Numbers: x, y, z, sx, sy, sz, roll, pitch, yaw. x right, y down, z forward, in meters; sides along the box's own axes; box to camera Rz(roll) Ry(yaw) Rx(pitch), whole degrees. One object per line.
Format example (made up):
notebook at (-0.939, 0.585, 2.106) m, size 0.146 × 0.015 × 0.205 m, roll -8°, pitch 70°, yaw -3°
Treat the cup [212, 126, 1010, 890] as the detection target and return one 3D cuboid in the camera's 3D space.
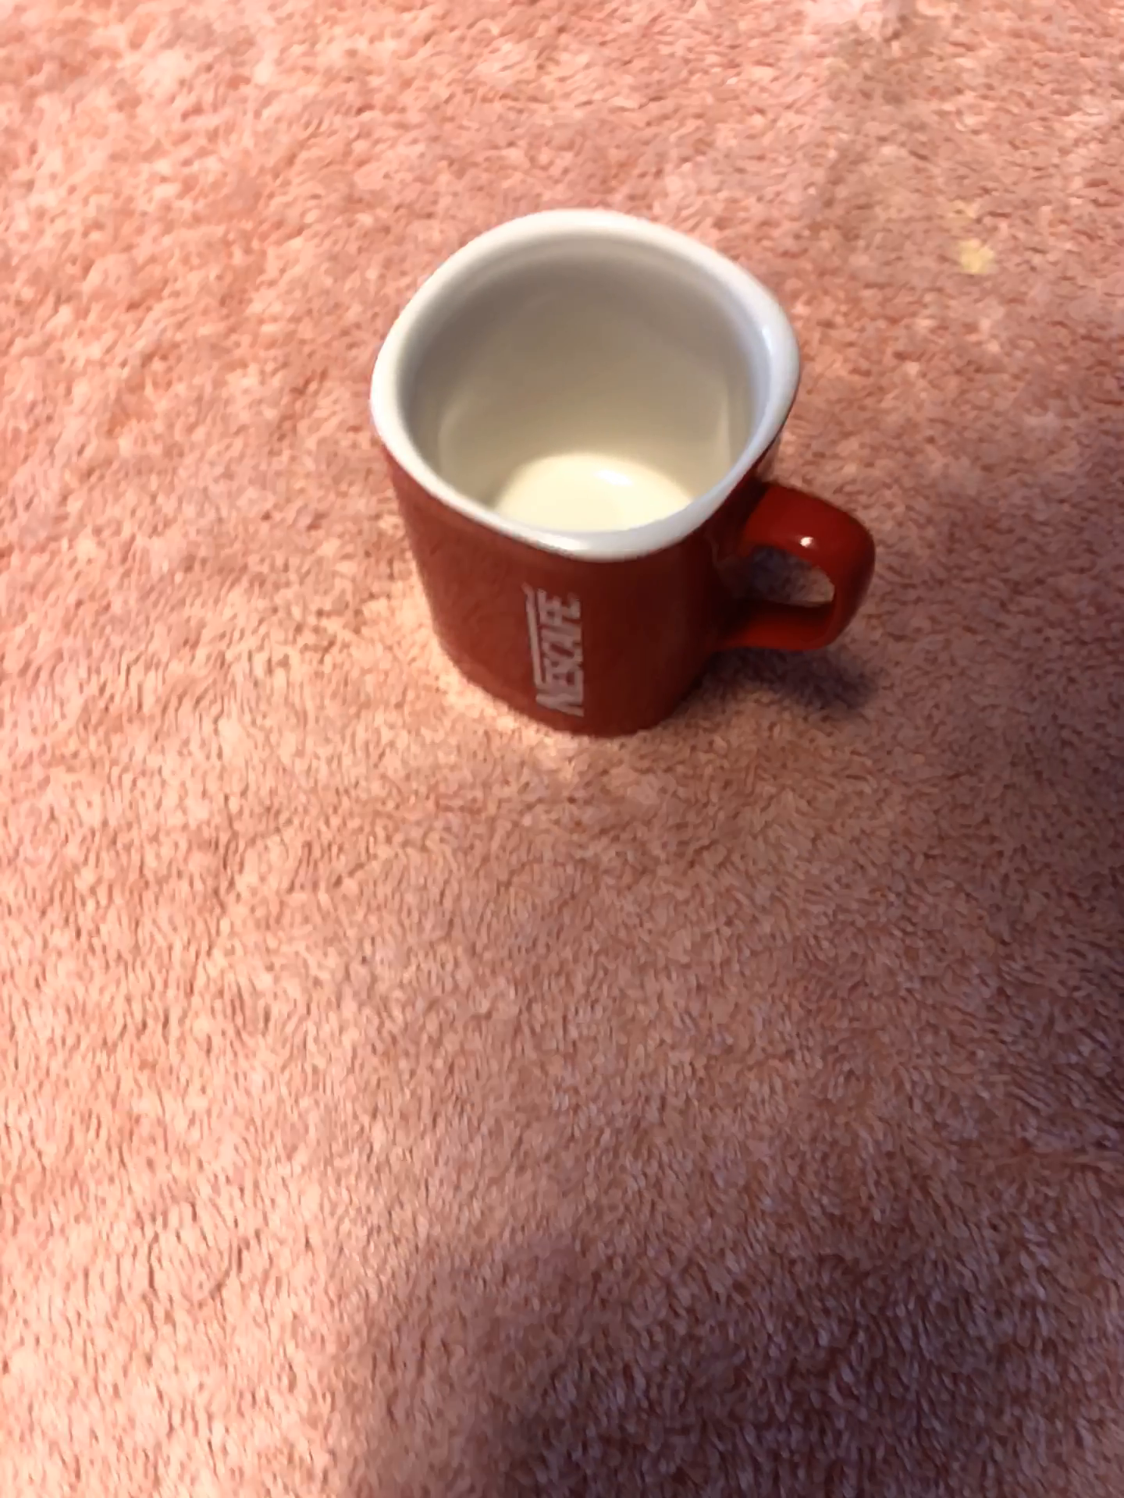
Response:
cup at (0.008, -0.040, 0.225) m, size 0.100 × 0.070 × 0.070 m, roll 33°, pitch 71°, yaw 15°
